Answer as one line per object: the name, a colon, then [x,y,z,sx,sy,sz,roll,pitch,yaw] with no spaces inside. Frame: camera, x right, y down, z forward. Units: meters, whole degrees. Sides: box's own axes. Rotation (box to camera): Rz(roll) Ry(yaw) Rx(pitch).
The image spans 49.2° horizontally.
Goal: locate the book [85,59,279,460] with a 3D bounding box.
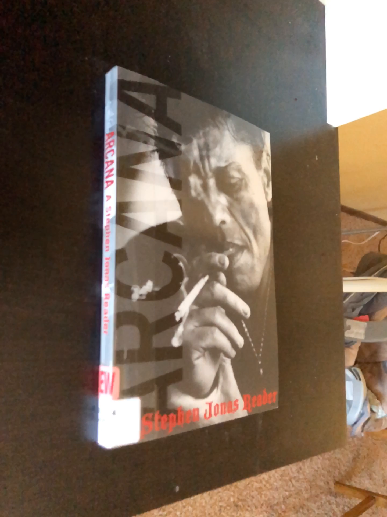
book: [0.003,0.002,0.343,0.180,0.024,0.260,5,82,-42]
